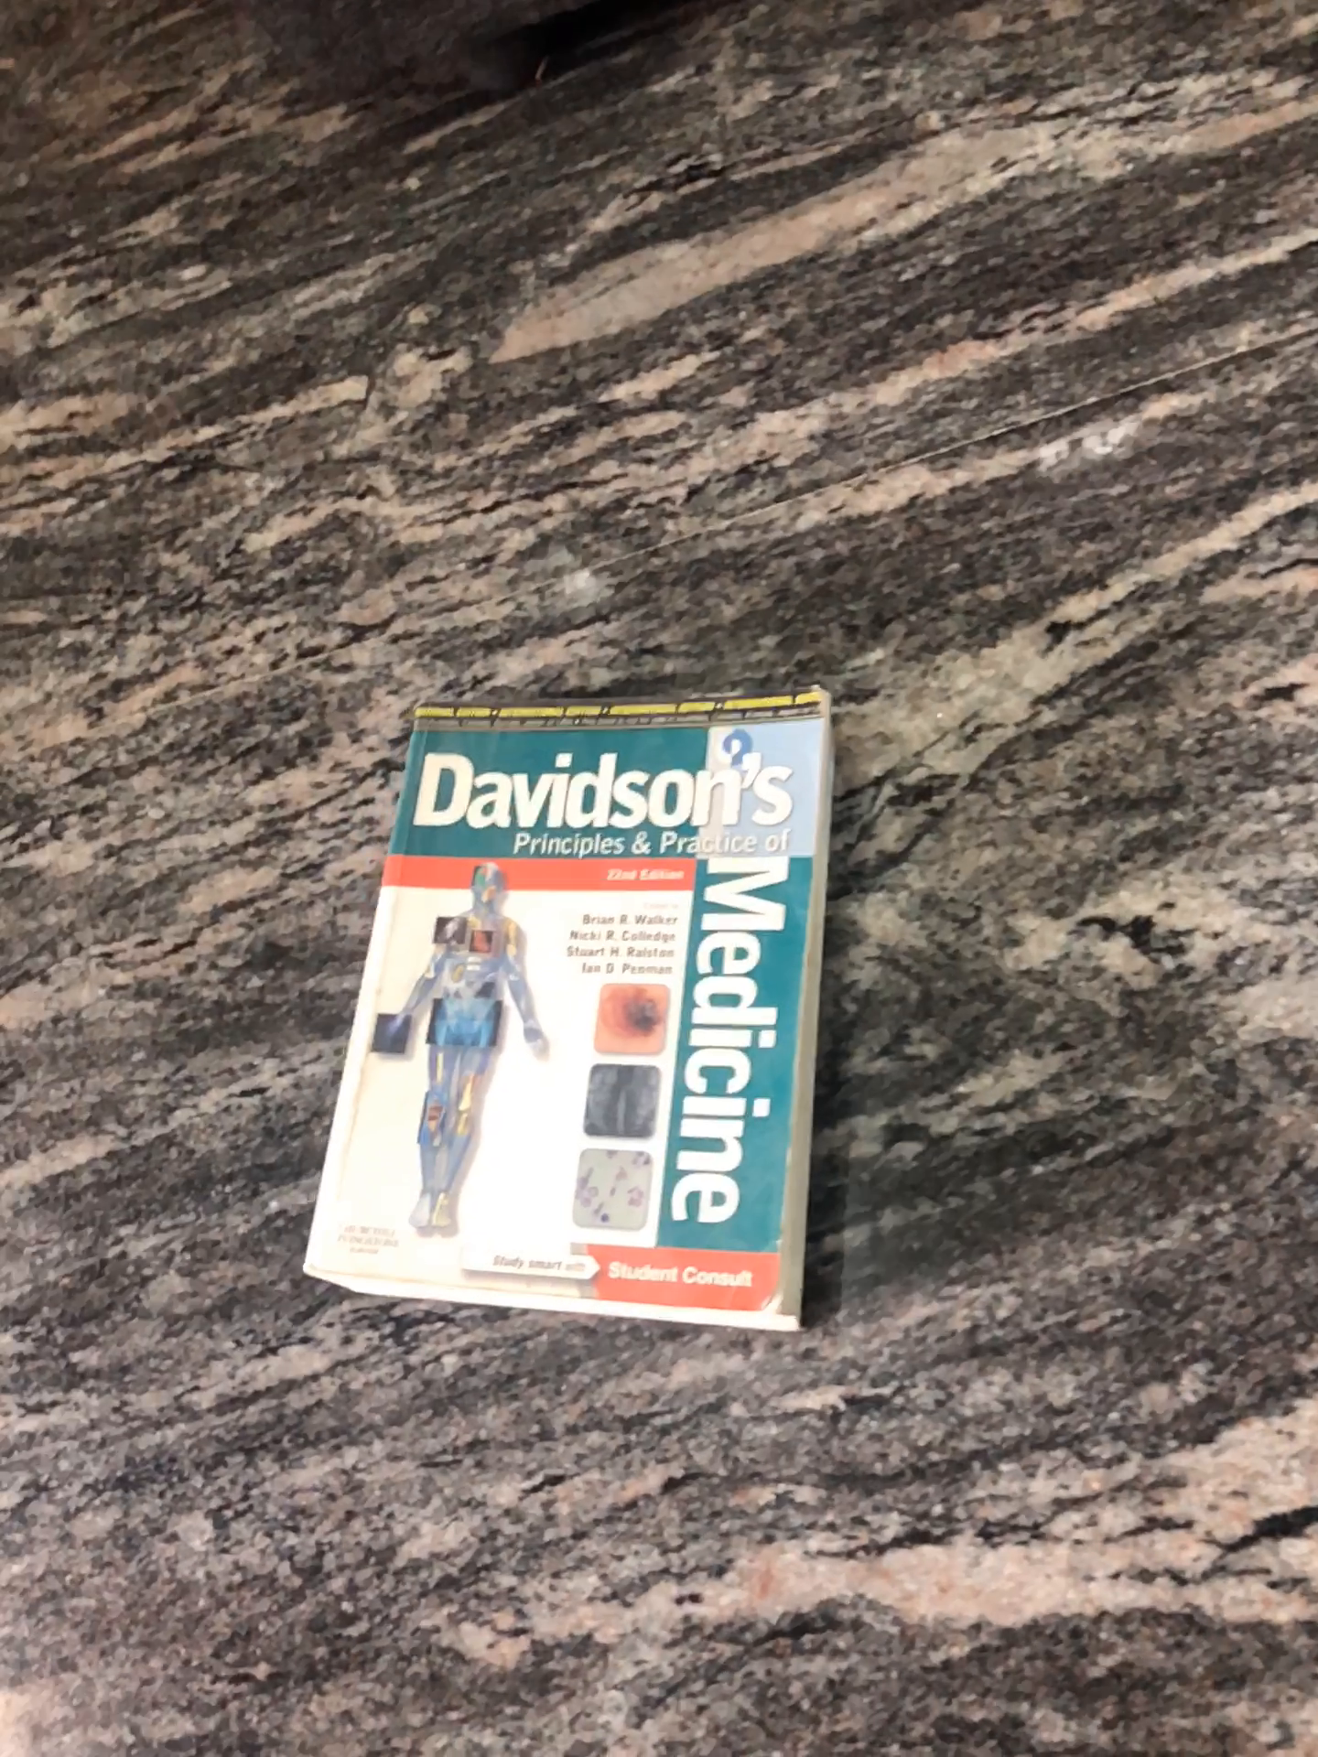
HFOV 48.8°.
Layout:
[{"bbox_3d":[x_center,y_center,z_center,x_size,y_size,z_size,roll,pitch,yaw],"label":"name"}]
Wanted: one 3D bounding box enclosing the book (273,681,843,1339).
[{"bbox_3d":[-0.032,0.050,0.622,0.200,0.070,0.260,0,66,15],"label":"book"}]
